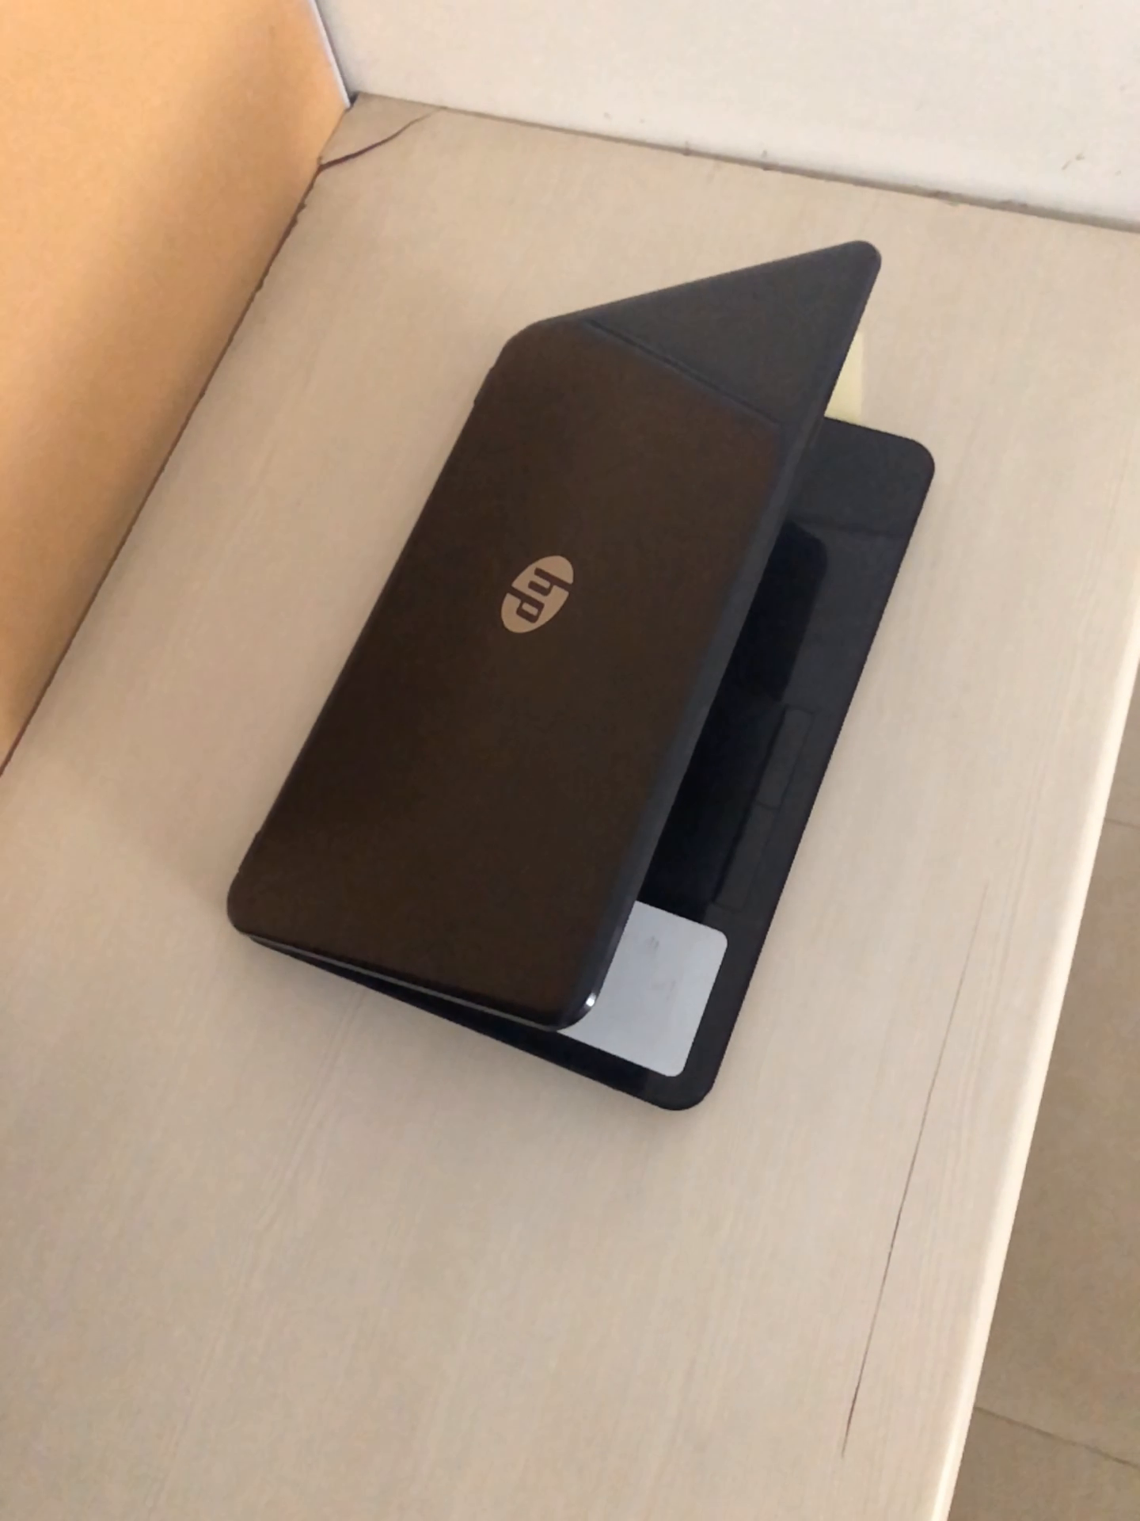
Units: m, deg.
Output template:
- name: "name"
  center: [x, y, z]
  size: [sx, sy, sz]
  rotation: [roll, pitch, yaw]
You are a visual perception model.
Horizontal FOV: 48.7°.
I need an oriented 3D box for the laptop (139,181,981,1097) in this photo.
- name: "laptop"
  center: [0.011, -0.062, 0.581]
  size: [0.223, 0.131, 0.353]
  rotation: [20, 73, 15]
